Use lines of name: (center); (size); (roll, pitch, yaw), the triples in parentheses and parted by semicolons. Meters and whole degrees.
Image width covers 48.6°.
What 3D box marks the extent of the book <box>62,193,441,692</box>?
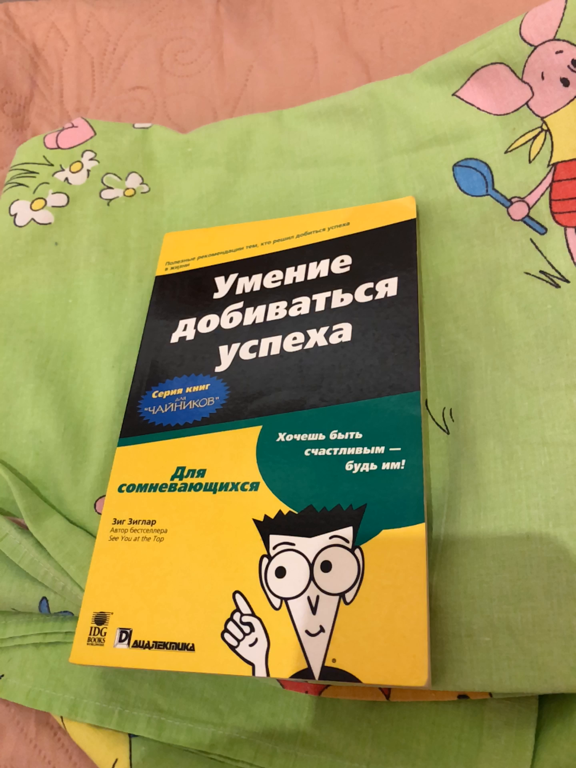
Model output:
book: (-0.008, 0.010, 0.251); (0.125, 0.015, 0.192); (-4, 60, 17)
